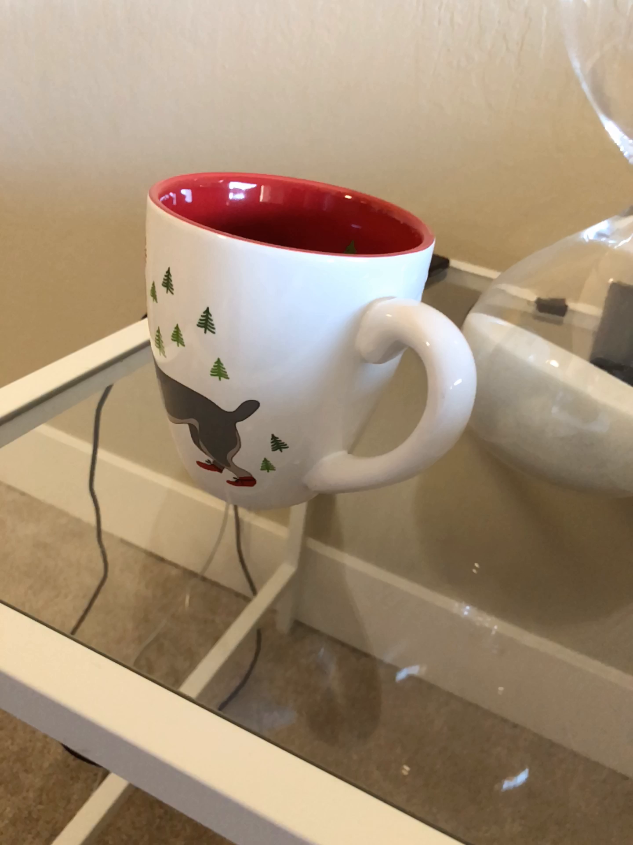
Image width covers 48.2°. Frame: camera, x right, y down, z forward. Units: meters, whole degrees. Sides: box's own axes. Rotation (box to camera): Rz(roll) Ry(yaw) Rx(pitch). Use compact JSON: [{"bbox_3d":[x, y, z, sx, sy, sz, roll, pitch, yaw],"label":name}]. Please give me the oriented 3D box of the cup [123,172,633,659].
[{"bbox_3d":[0.008,-0.020,0.269,0.100,0.109,0.150,-16,38,-37],"label":"cup"}]
